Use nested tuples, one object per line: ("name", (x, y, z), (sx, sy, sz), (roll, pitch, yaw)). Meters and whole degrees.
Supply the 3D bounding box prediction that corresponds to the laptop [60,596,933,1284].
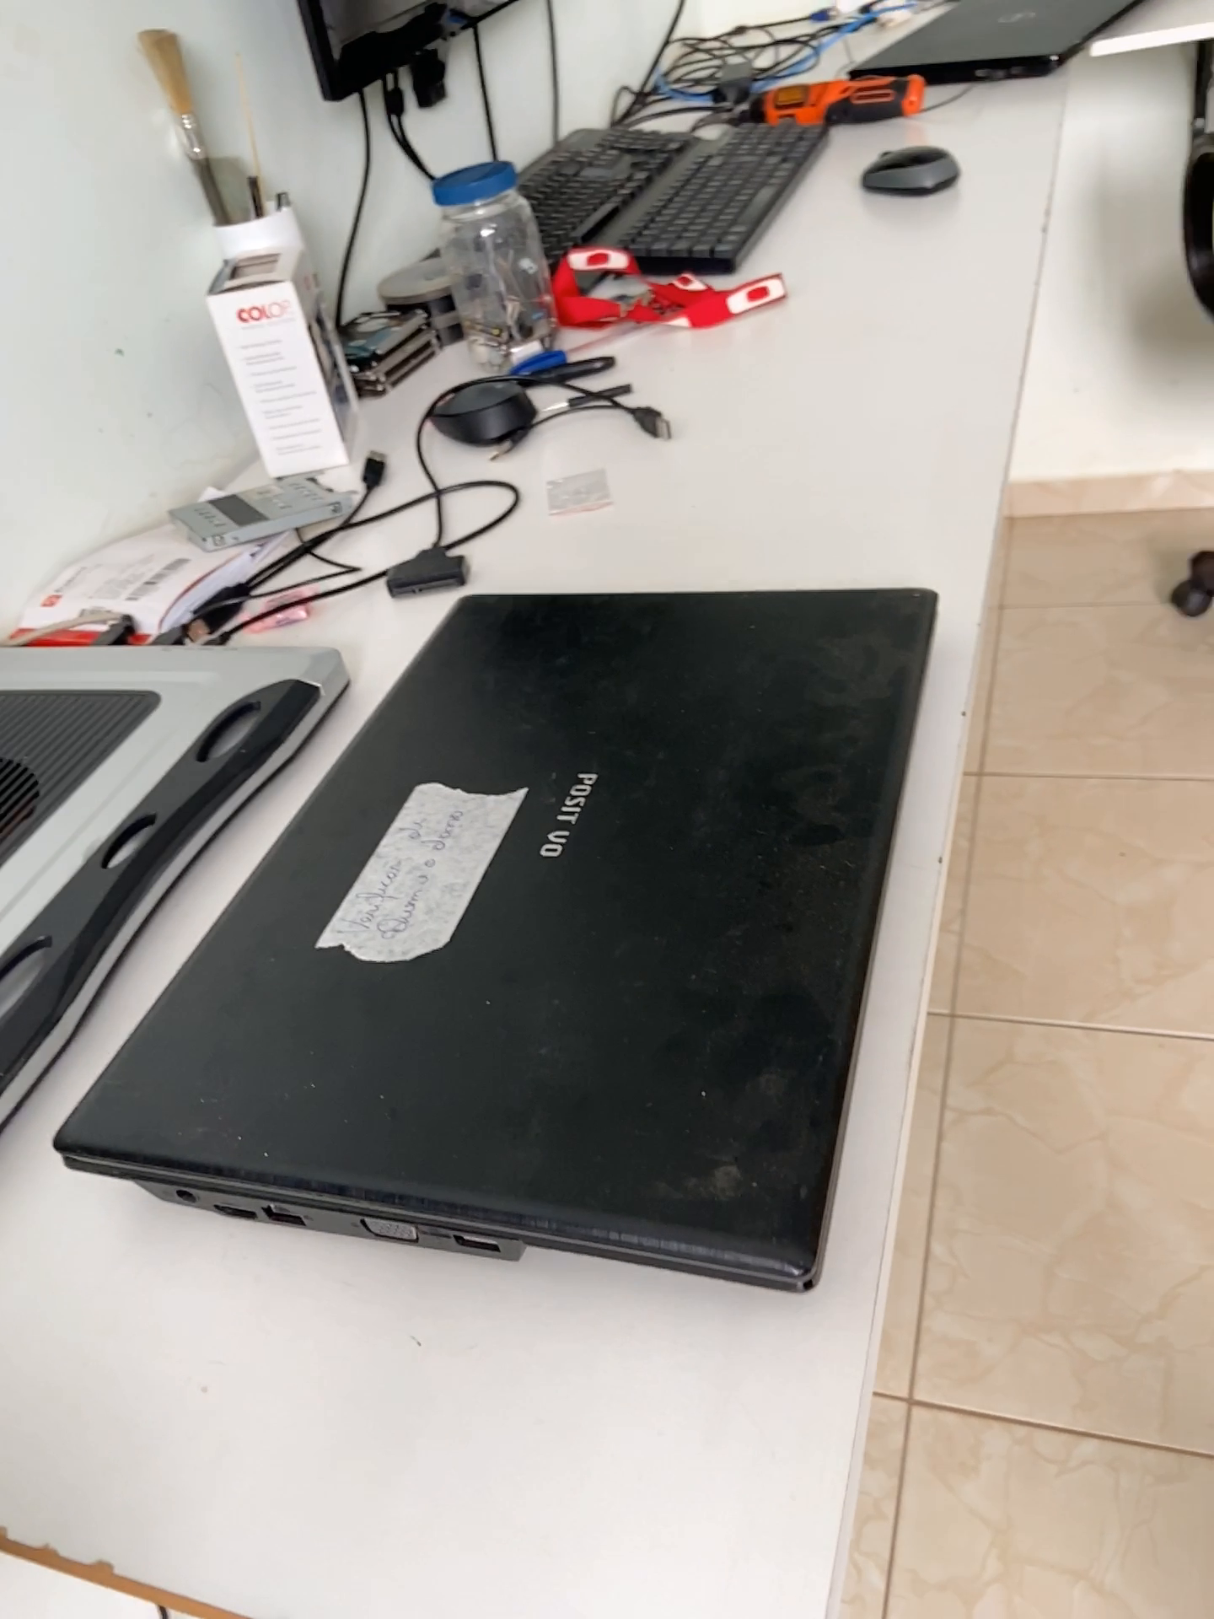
("laptop", (-0.012, 0.006, 0.470), (0.233, 0.008, 0.330), (3, 40, 19))
